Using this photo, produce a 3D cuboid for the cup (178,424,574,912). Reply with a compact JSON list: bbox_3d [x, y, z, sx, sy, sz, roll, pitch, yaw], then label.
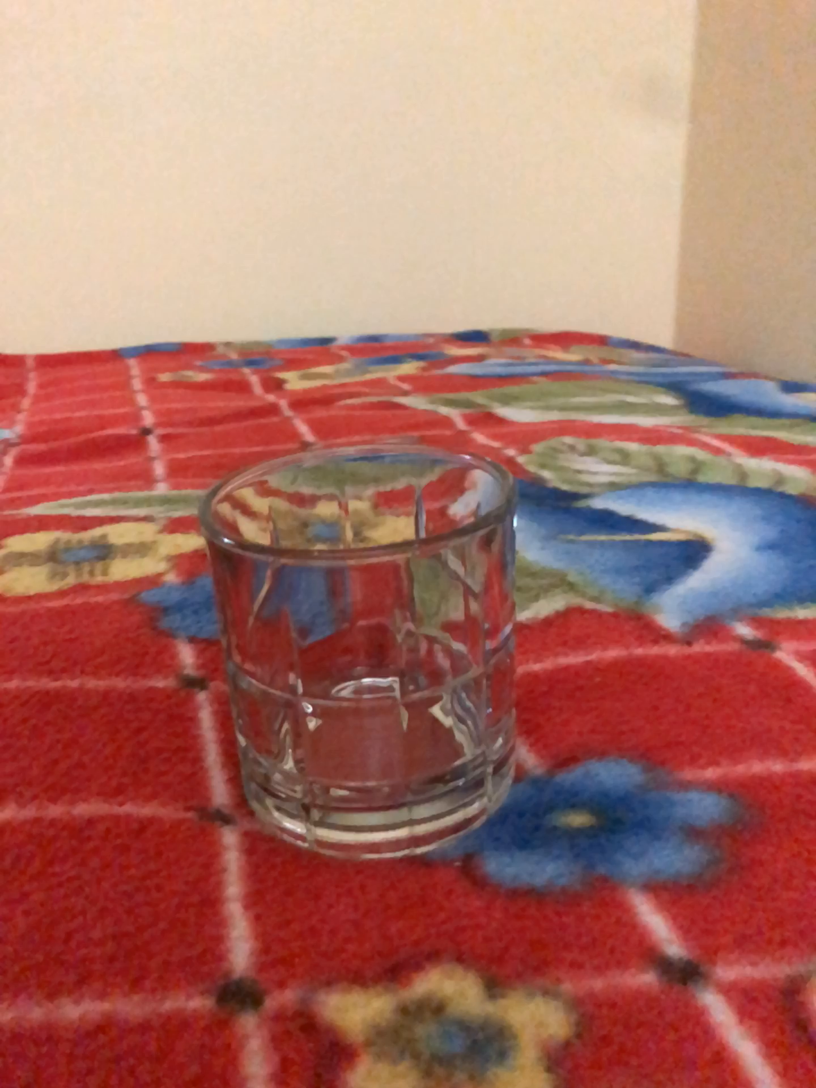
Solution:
[{"bbox_3d":[-0.012,0.025,0.244,0.083,0.088,0.084,-3,22,1],"label":"cup"}]
